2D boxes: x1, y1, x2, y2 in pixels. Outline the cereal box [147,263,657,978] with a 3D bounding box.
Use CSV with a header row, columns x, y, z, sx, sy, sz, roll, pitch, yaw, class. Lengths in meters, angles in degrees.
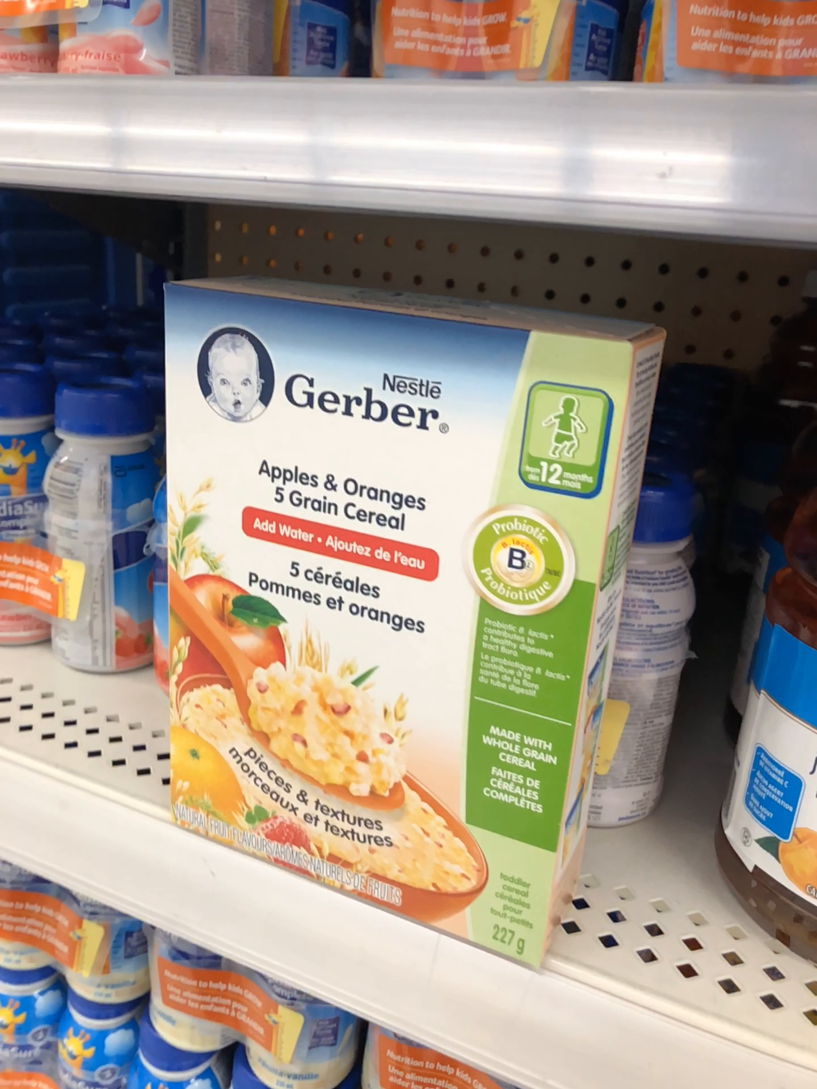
x,y,z,sx,sy,sz,roll,pitch,yaw,class
-0.011,0.020,0.296,0.140,0.199,0.050,13,21,21,cereal box
